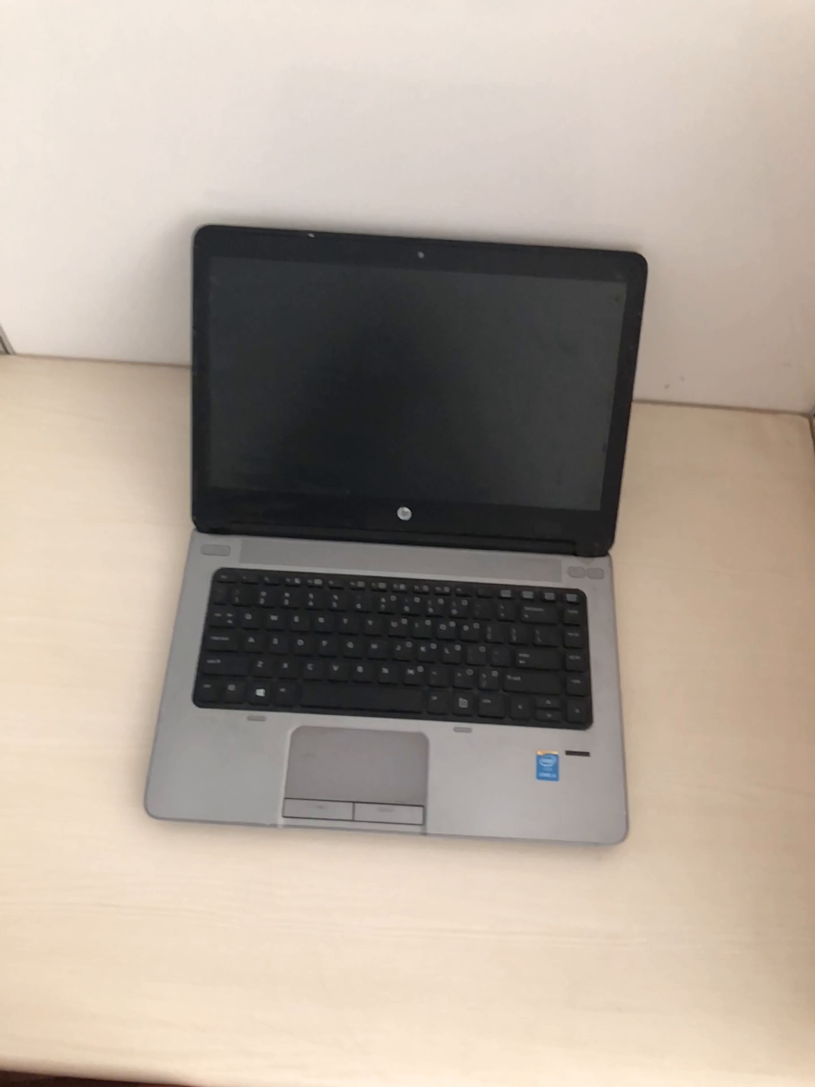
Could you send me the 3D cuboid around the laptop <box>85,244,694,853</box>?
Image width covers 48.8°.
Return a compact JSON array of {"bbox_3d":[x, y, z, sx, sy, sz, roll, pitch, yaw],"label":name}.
[{"bbox_3d":[-0.002,-0.004,0.627,0.322,0.149,0.378,4,62,0],"label":"laptop"}]
